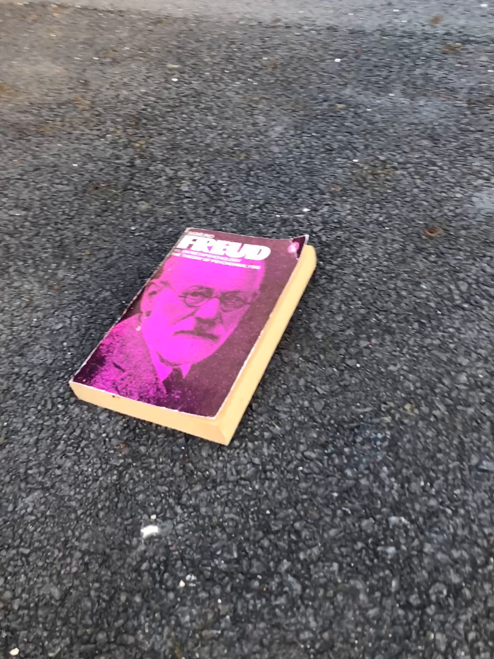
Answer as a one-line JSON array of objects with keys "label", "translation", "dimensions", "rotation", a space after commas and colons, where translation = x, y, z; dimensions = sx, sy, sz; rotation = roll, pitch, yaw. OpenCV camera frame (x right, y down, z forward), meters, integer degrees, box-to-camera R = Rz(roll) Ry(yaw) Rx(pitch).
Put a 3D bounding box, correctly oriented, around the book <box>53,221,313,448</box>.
[{"label": "book", "translation": [-0.041, -0.011, 0.441], "dimensions": [0.131, 0.031, 0.195], "rotation": [12, 50, 23]}]
